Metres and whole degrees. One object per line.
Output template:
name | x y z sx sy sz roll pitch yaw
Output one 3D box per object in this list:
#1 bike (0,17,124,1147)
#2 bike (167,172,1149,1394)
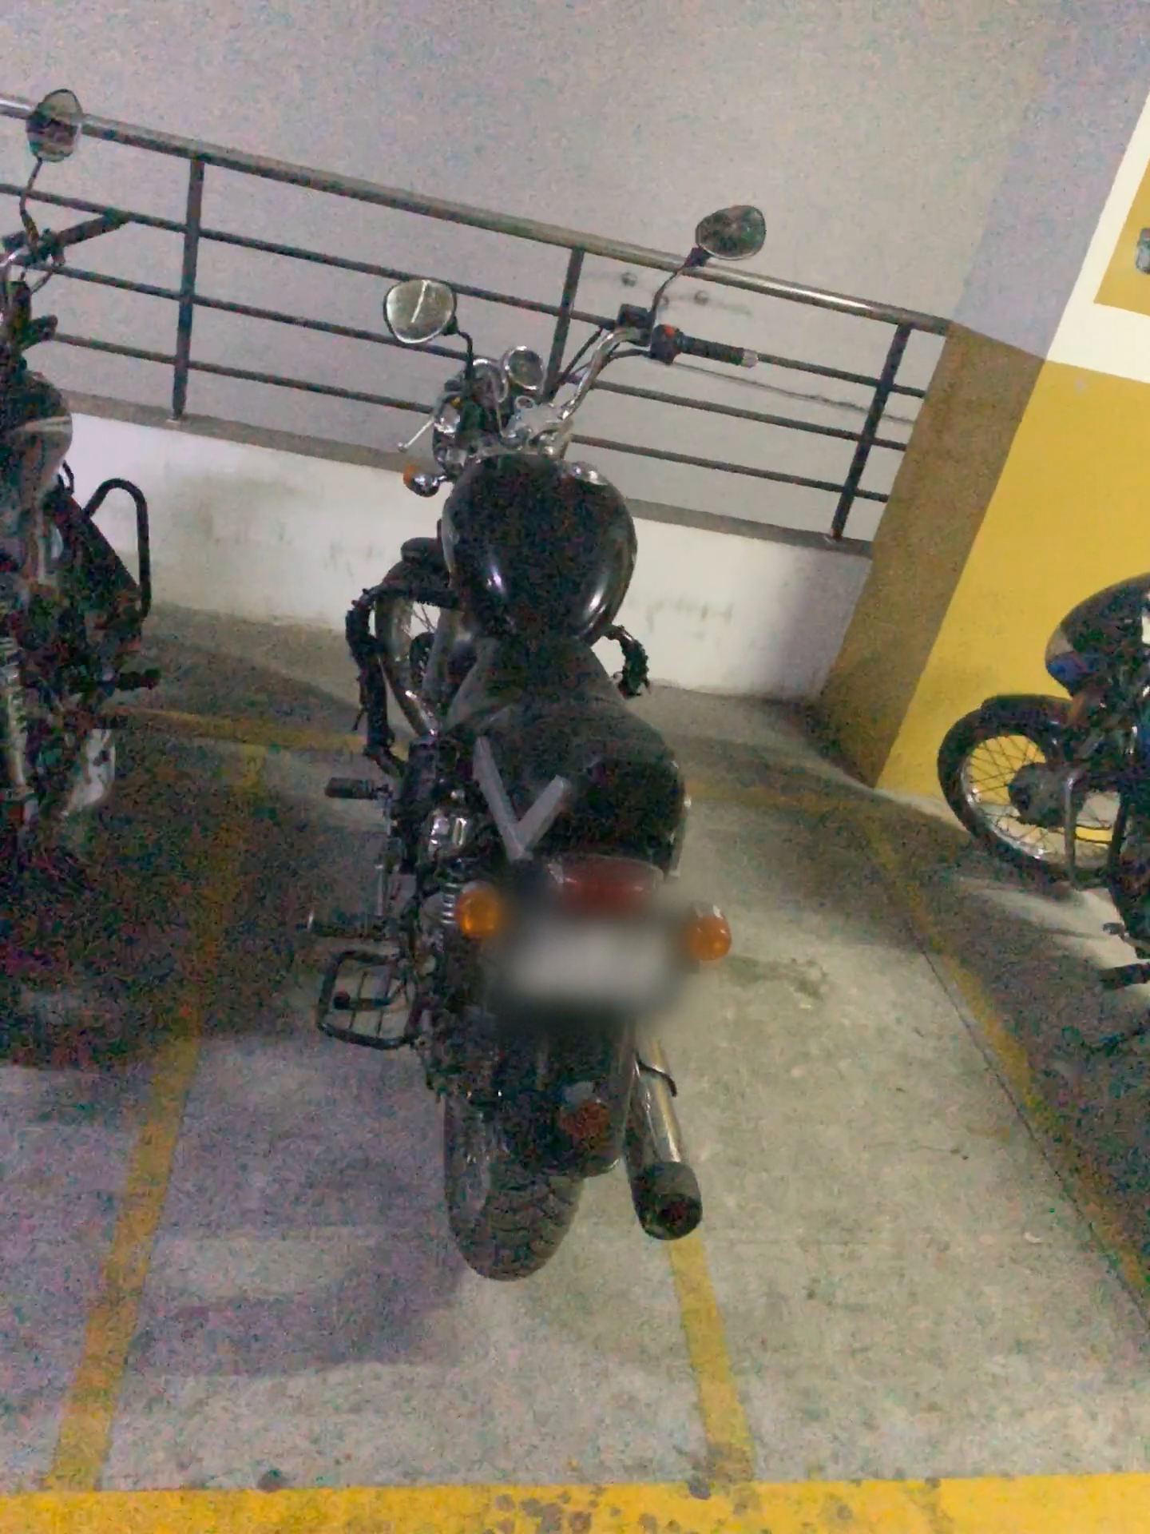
bike | -1.338 -0.479 2.173 0.720 1.277 1.570 6 32 -15
bike | -0.202 -0.156 2.064 0.852 1.232 1.805 5 30 -18
